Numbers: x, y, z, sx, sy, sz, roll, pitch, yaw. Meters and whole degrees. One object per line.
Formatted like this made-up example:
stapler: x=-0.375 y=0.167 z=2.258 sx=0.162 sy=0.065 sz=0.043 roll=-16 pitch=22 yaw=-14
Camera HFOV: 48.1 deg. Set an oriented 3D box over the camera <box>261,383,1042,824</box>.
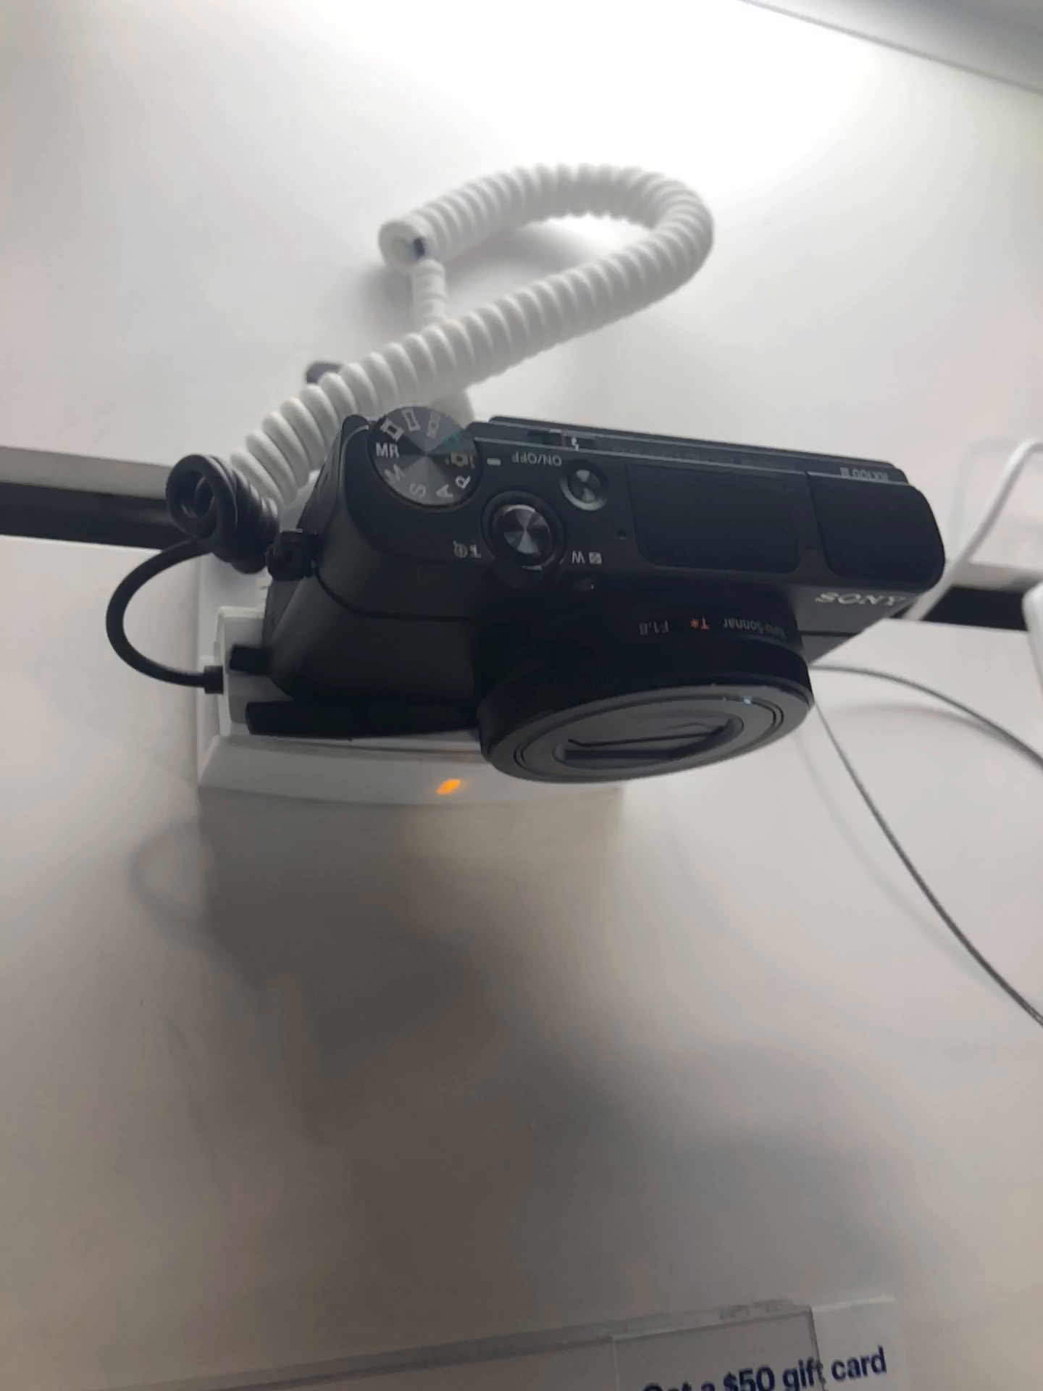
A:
camera: x=0.017 y=-0.010 z=0.178 sx=0.102 sy=0.051 sz=0.041 roll=0 pitch=67 yaw=-22
